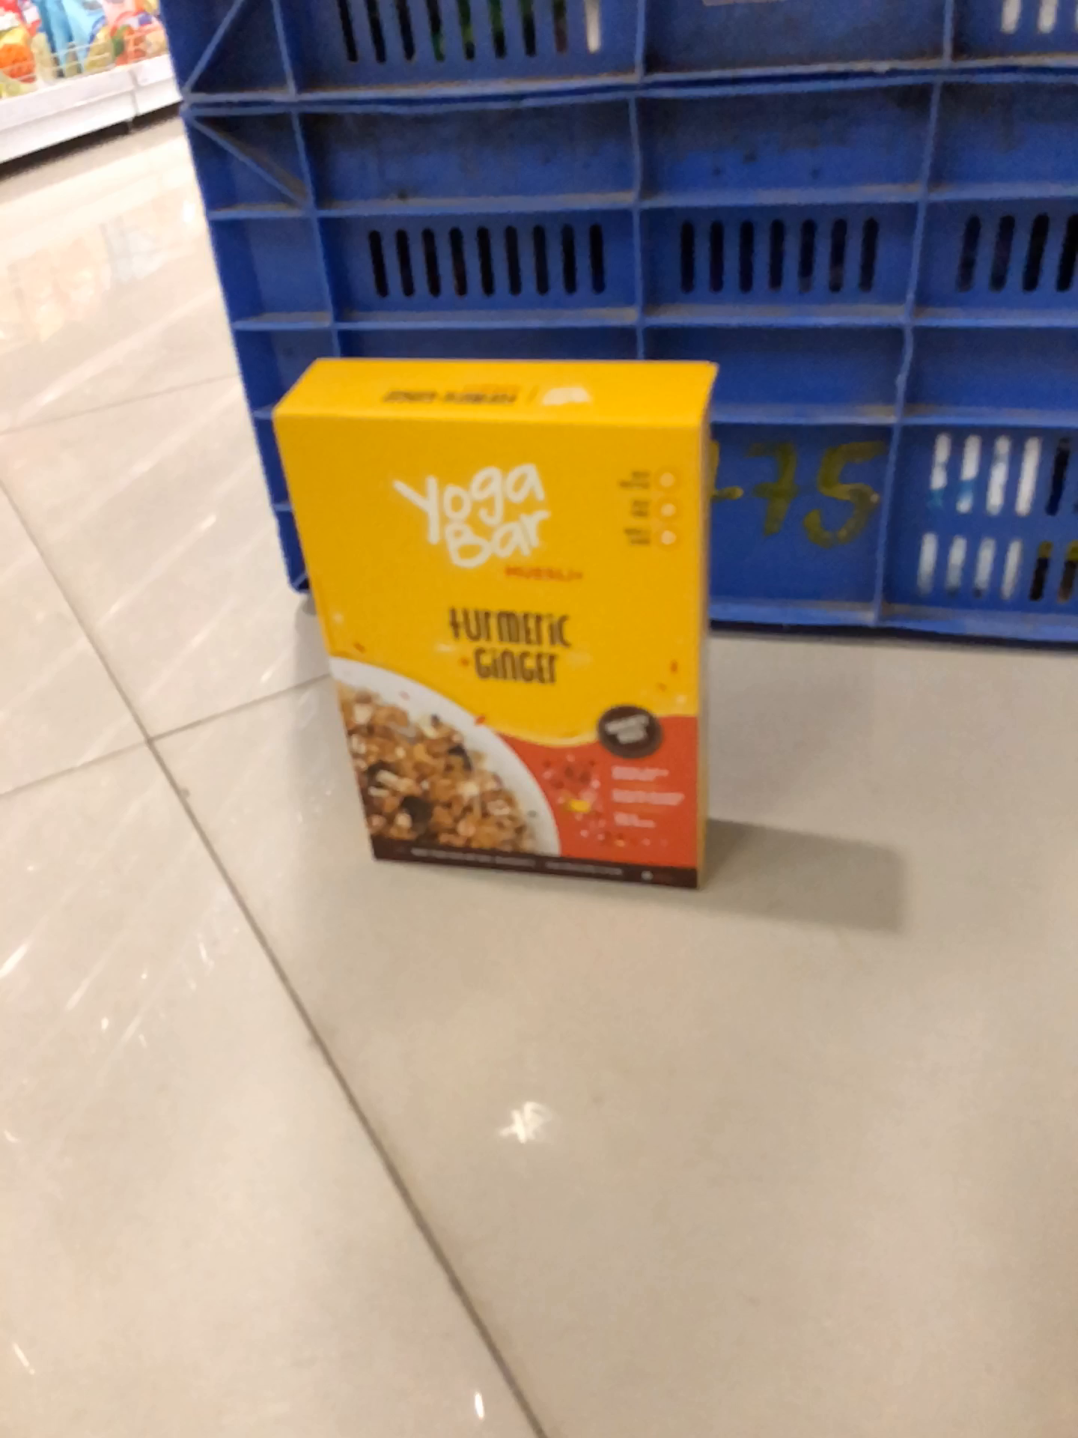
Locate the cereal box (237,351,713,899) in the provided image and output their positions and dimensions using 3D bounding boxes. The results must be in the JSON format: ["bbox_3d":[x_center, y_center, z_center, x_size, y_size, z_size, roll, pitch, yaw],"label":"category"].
[{"bbox_3d":[-0.014,-0.035,0.505,0.170,0.228,0.060,4,36,13],"label":"cereal box"}]
